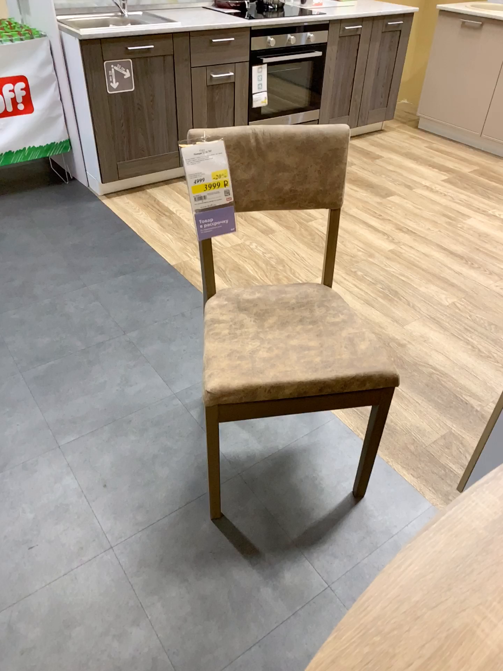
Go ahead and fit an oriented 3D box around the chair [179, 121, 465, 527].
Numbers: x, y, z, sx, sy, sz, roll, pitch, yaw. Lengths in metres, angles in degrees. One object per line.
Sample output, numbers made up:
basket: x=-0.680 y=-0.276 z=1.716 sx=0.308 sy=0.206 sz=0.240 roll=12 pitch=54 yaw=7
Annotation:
chair: x=0.088 y=-0.010 z=1.368 sx=0.480 sy=0.924 sz=0.513 roll=-5 pitch=39 yaw=-9
